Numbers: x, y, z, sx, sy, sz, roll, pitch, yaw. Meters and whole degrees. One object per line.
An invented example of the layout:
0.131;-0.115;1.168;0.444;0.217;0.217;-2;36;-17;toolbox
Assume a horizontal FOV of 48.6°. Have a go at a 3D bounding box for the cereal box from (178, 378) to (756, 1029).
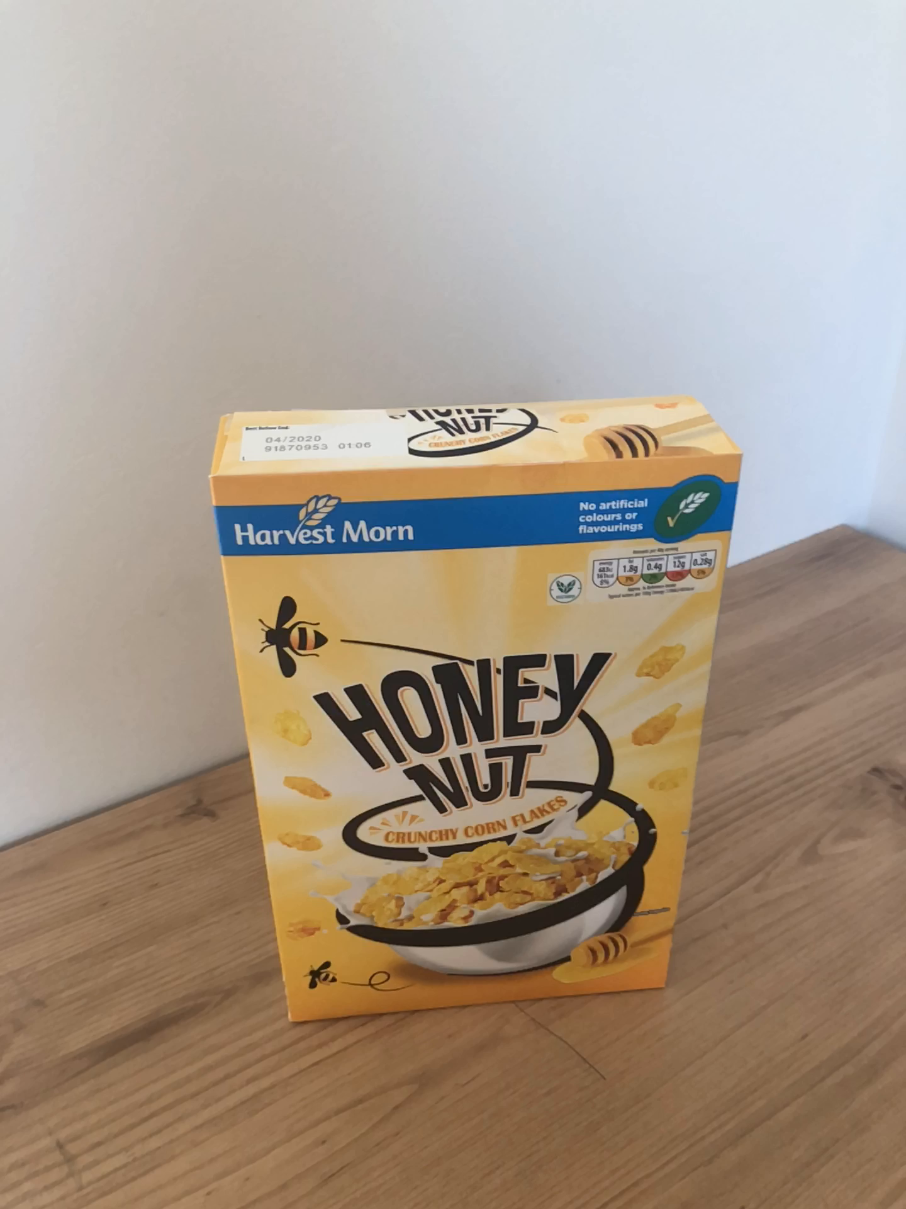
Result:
0.006;0.058;0.448;0.200;0.298;0.060;-3;31;-4;cereal box
